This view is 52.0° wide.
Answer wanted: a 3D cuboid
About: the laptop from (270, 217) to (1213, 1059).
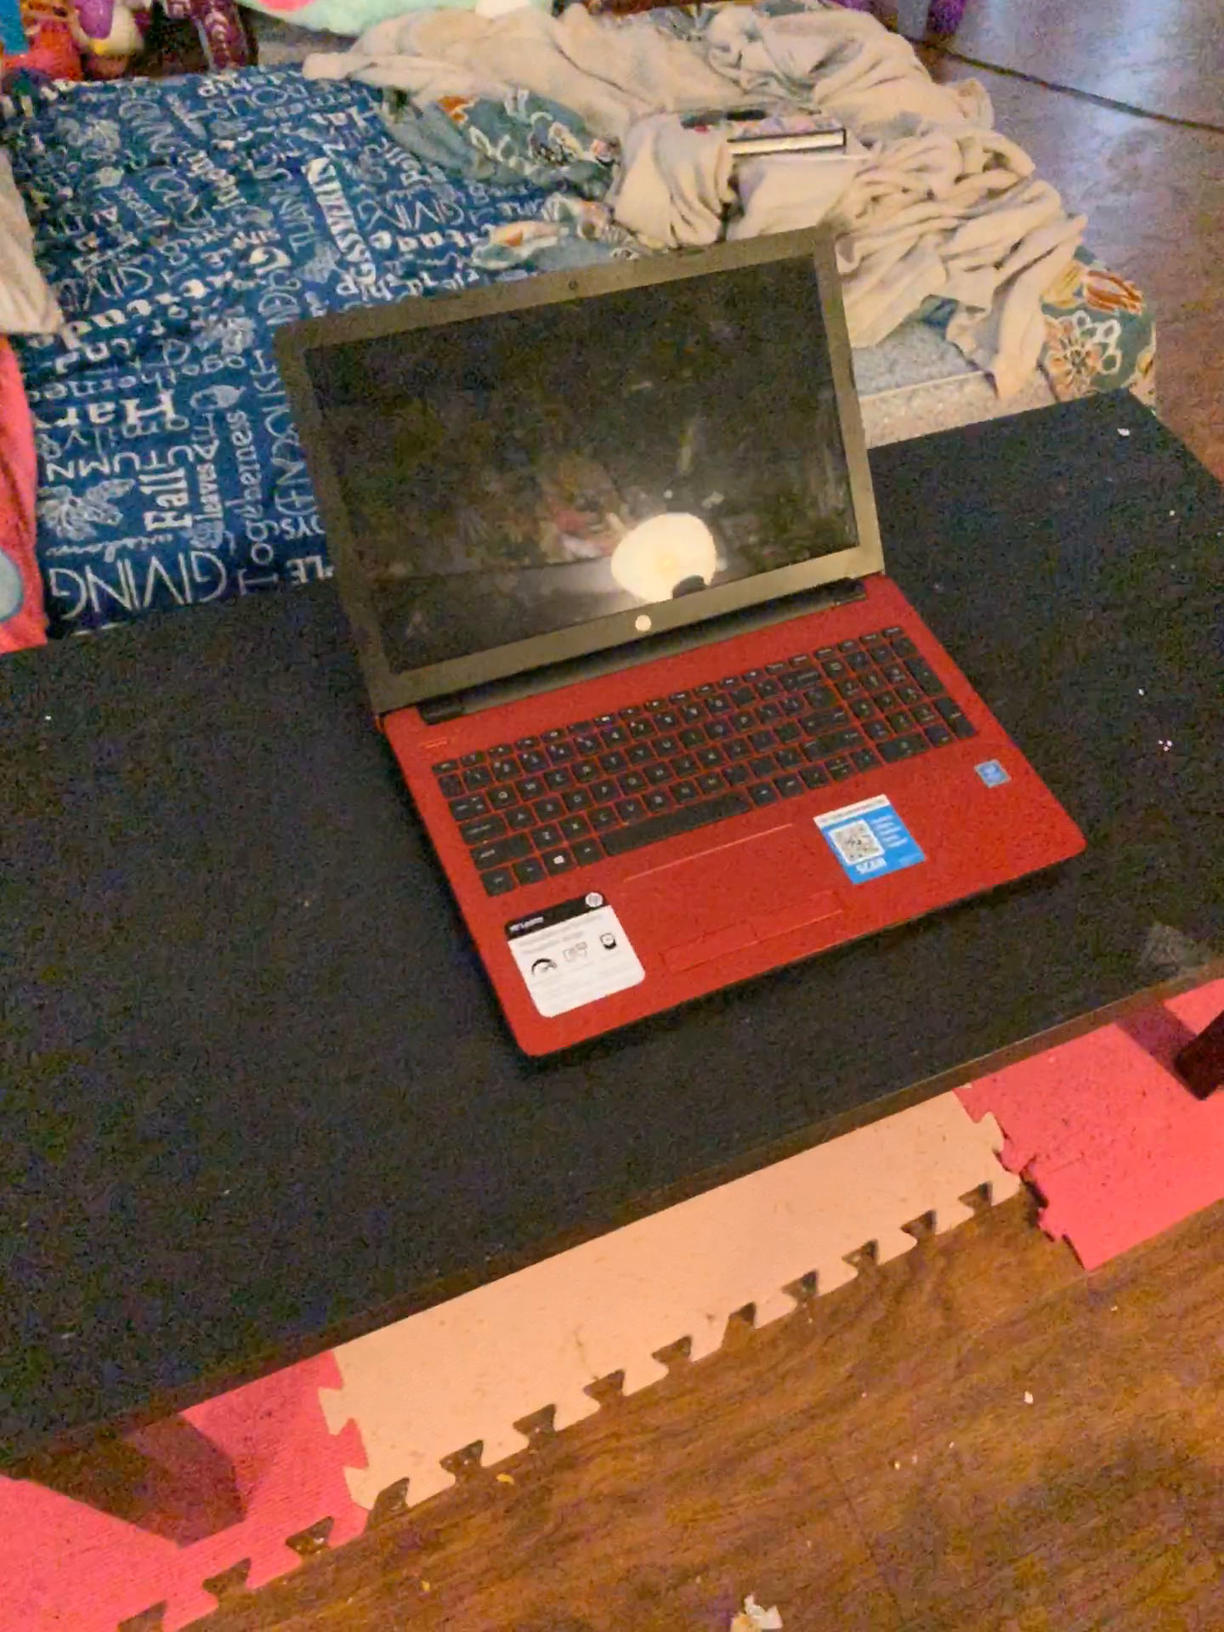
[{"bbox_3d":[0.048,-0.135,0.754,0.376,0.169,0.410,-18,60,-17],"label":"laptop"}]
